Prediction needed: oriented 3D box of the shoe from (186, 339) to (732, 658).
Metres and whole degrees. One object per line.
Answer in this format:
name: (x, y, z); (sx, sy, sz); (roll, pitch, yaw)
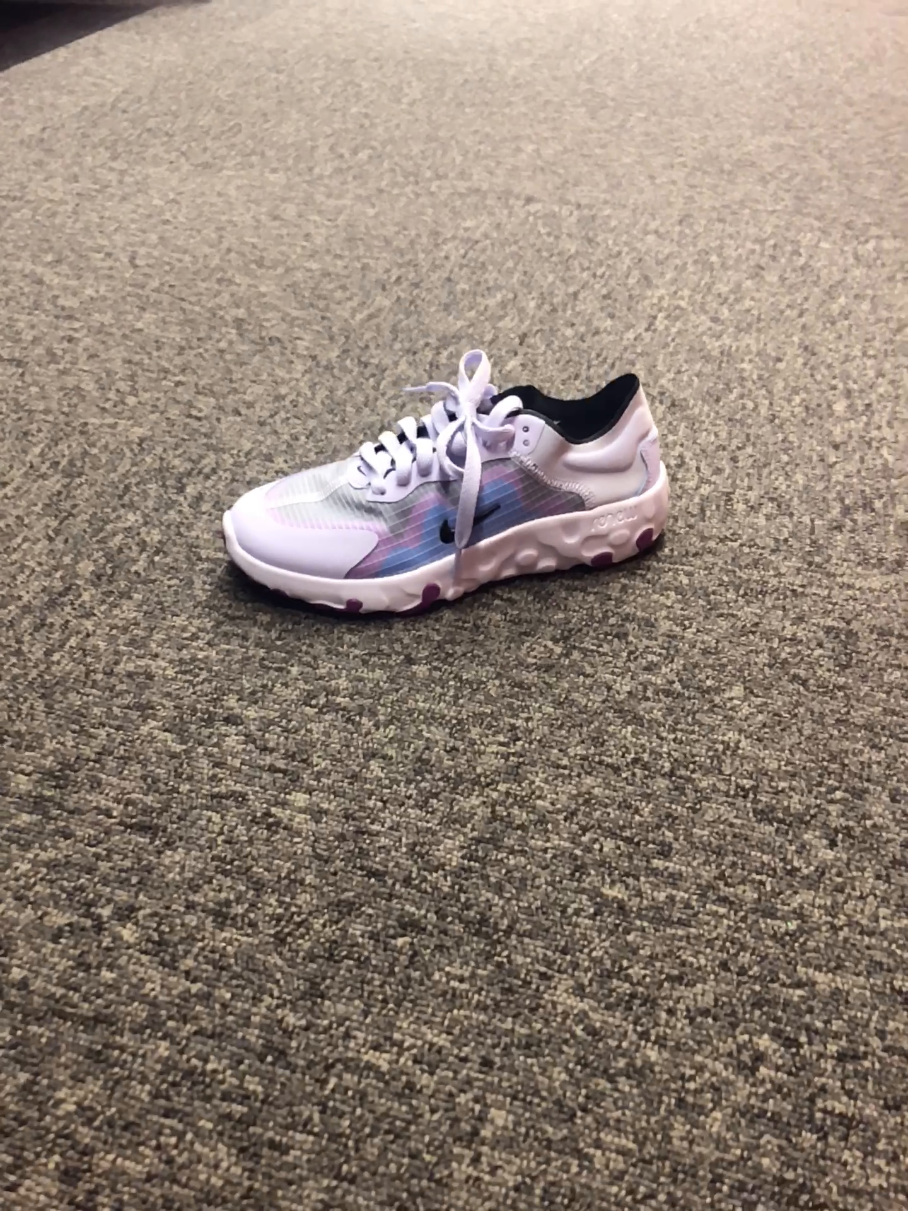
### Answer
shoe: (-0.002, -0.062, 0.537); (0.260, 0.099, 0.100); (-8, 42, -10)
